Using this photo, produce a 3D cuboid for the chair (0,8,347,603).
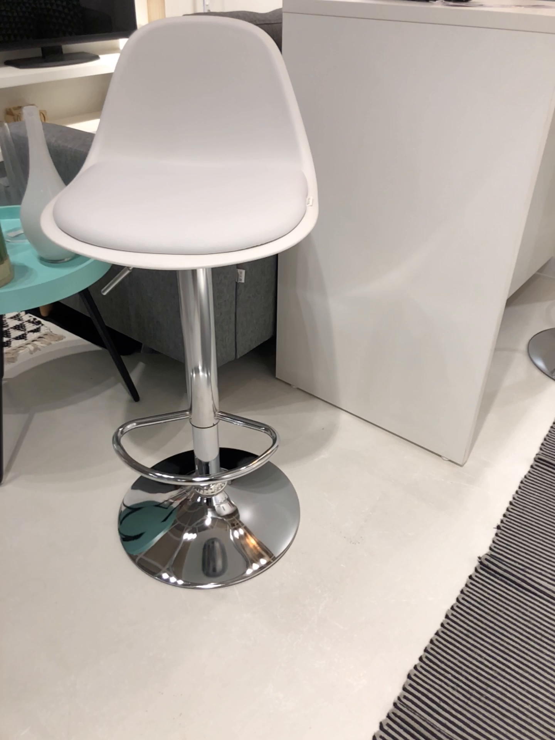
[{"bbox_3d":[-0.131,-0.083,1.040,0.410,0.883,0.423,5,35,6],"label":"chair"}]
